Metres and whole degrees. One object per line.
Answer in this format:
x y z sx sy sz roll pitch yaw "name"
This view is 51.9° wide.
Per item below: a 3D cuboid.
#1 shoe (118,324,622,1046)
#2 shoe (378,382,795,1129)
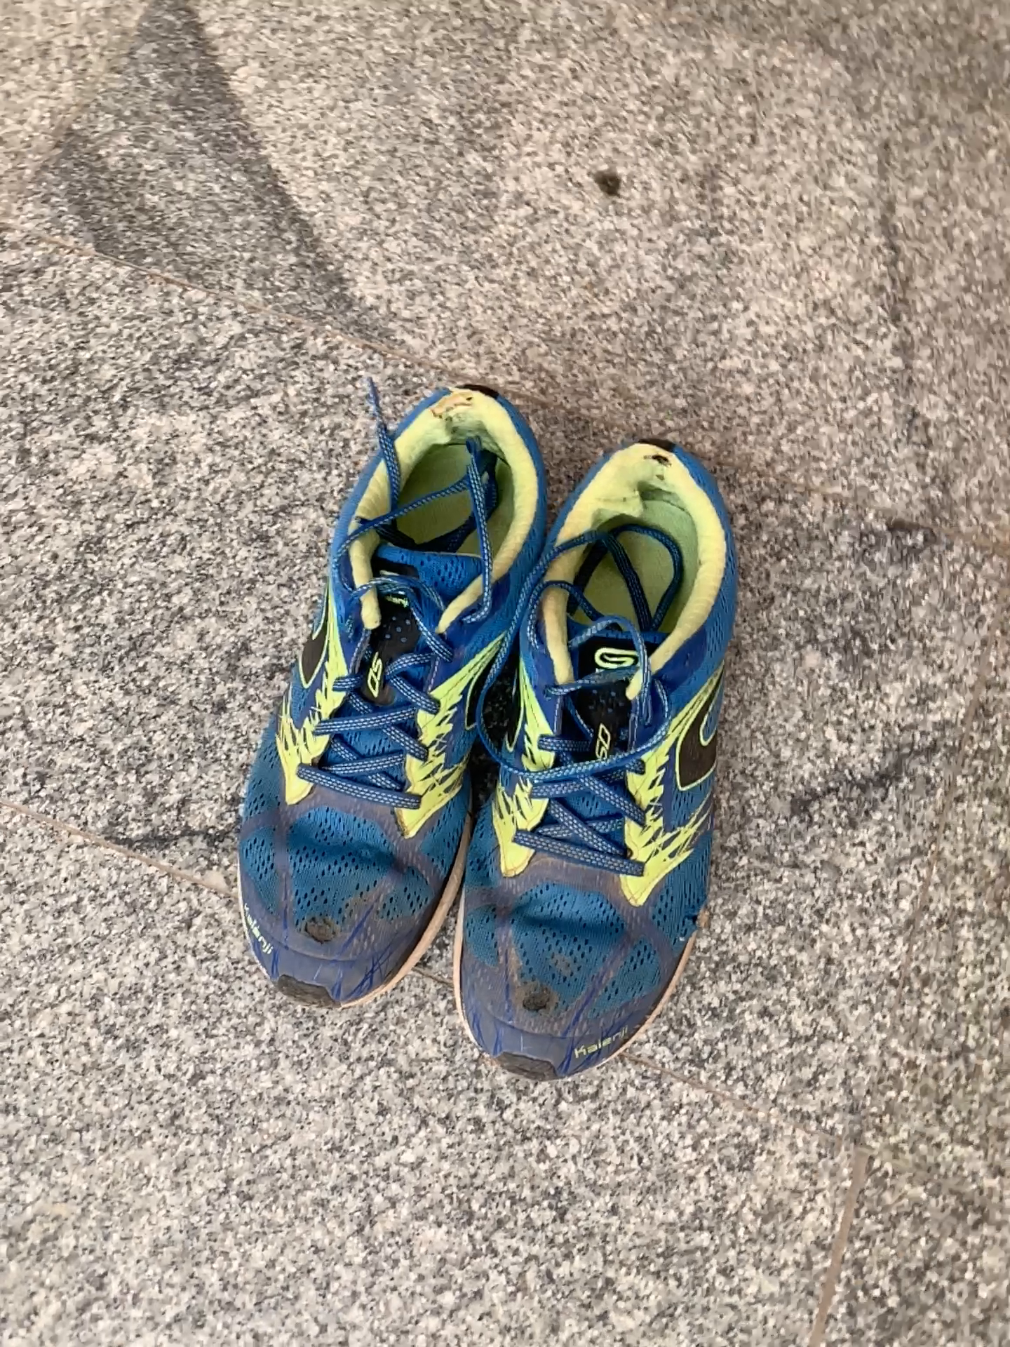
-0.044 -0.005 0.448 0.110 0.060 0.291 16 71 9 "shoe"
0.045 0.021 0.430 0.100 0.060 0.291 9 70 17 "shoe"
